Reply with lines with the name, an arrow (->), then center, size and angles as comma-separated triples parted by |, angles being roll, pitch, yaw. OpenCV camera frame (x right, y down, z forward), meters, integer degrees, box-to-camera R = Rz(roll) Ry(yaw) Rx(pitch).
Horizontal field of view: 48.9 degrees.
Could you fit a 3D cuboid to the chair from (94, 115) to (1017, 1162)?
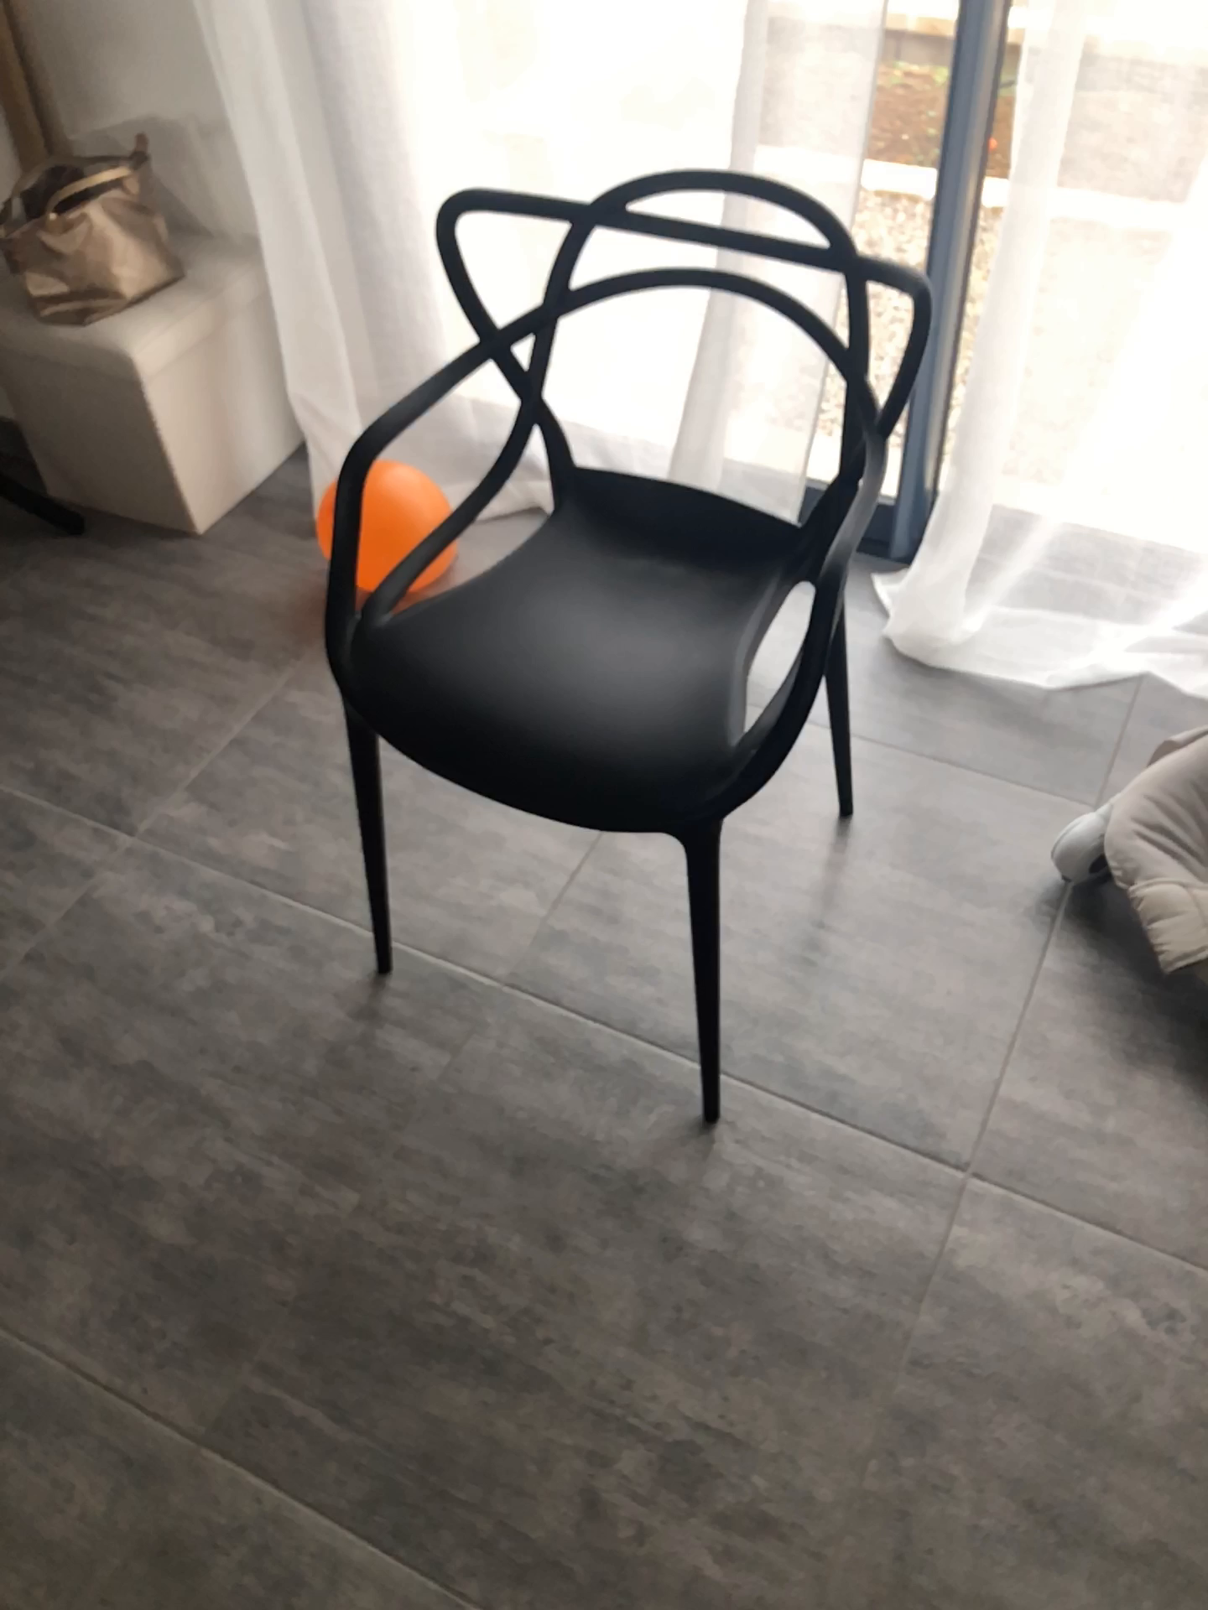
chair -> 0.004, -0.170, 1.415 | 0.562, 0.795, 0.589 | 20, 52, 21
